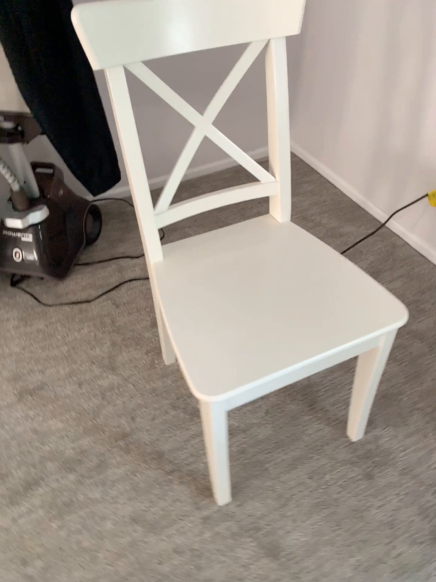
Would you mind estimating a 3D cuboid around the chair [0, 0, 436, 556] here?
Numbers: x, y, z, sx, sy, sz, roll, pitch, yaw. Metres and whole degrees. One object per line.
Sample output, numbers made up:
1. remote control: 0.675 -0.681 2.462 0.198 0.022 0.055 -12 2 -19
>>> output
1. chair: 0.045 -0.064 0.820 0.610 0.766 0.573 -19 47 -17
